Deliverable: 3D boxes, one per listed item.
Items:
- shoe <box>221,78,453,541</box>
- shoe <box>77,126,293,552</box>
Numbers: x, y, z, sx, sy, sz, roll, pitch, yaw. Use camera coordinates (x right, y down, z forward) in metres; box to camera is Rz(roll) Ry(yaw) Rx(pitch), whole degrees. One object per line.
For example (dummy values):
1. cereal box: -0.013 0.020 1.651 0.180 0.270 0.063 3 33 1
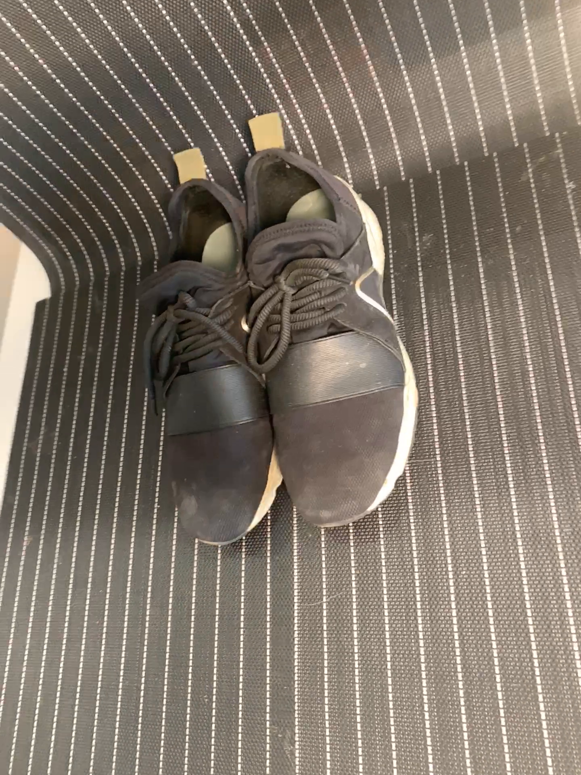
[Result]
1. shoe: 0.024 -0.051 0.400 0.100 0.090 0.280 -15 65 23
2. shoe: -0.064 -0.032 0.425 0.100 0.080 0.280 -9 67 26
